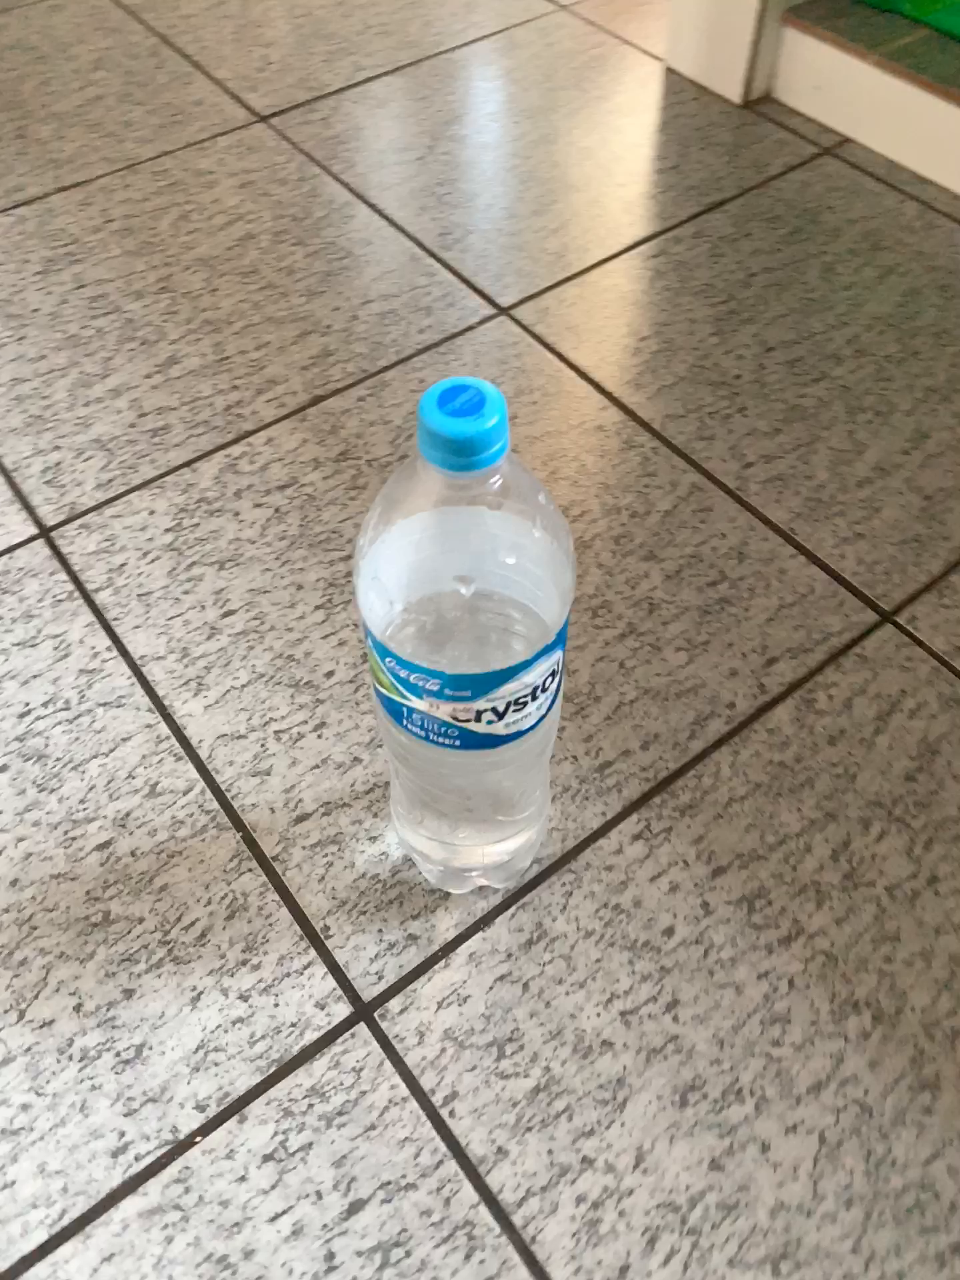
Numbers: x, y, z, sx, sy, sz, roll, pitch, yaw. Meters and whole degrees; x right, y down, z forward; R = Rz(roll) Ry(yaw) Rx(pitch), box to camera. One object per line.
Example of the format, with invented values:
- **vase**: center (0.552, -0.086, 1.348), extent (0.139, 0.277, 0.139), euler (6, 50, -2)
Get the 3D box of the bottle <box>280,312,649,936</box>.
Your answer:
- **bottle**: center (-0.006, 0.021, 0.428), extent (0.090, 0.299, 0.090), euler (0, 54, 1)
